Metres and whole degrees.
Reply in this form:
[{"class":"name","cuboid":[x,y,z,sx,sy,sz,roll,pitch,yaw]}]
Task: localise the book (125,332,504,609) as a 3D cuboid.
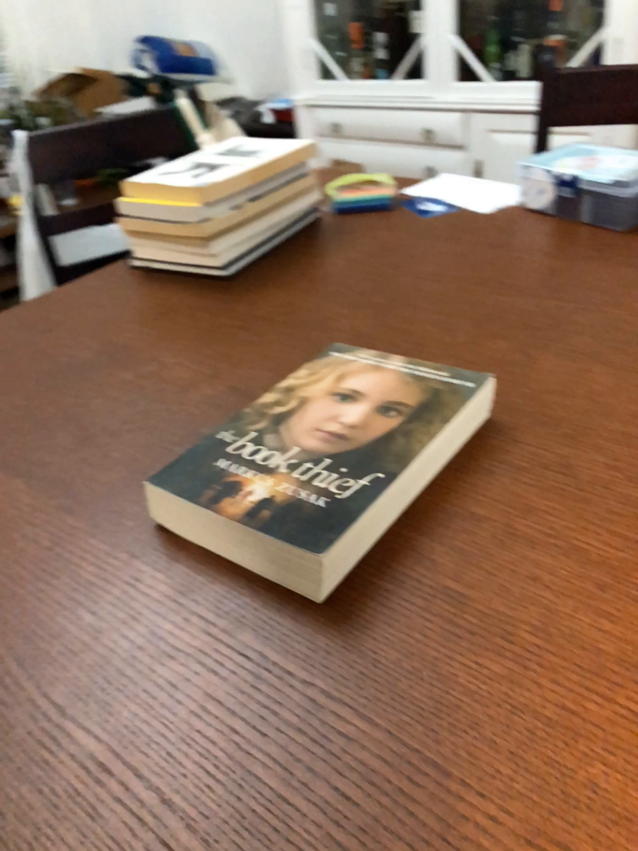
[{"class":"book","cuboid":[0.006,0.010,0.476,0.150,0.030,0.221,17,41,34]}]
